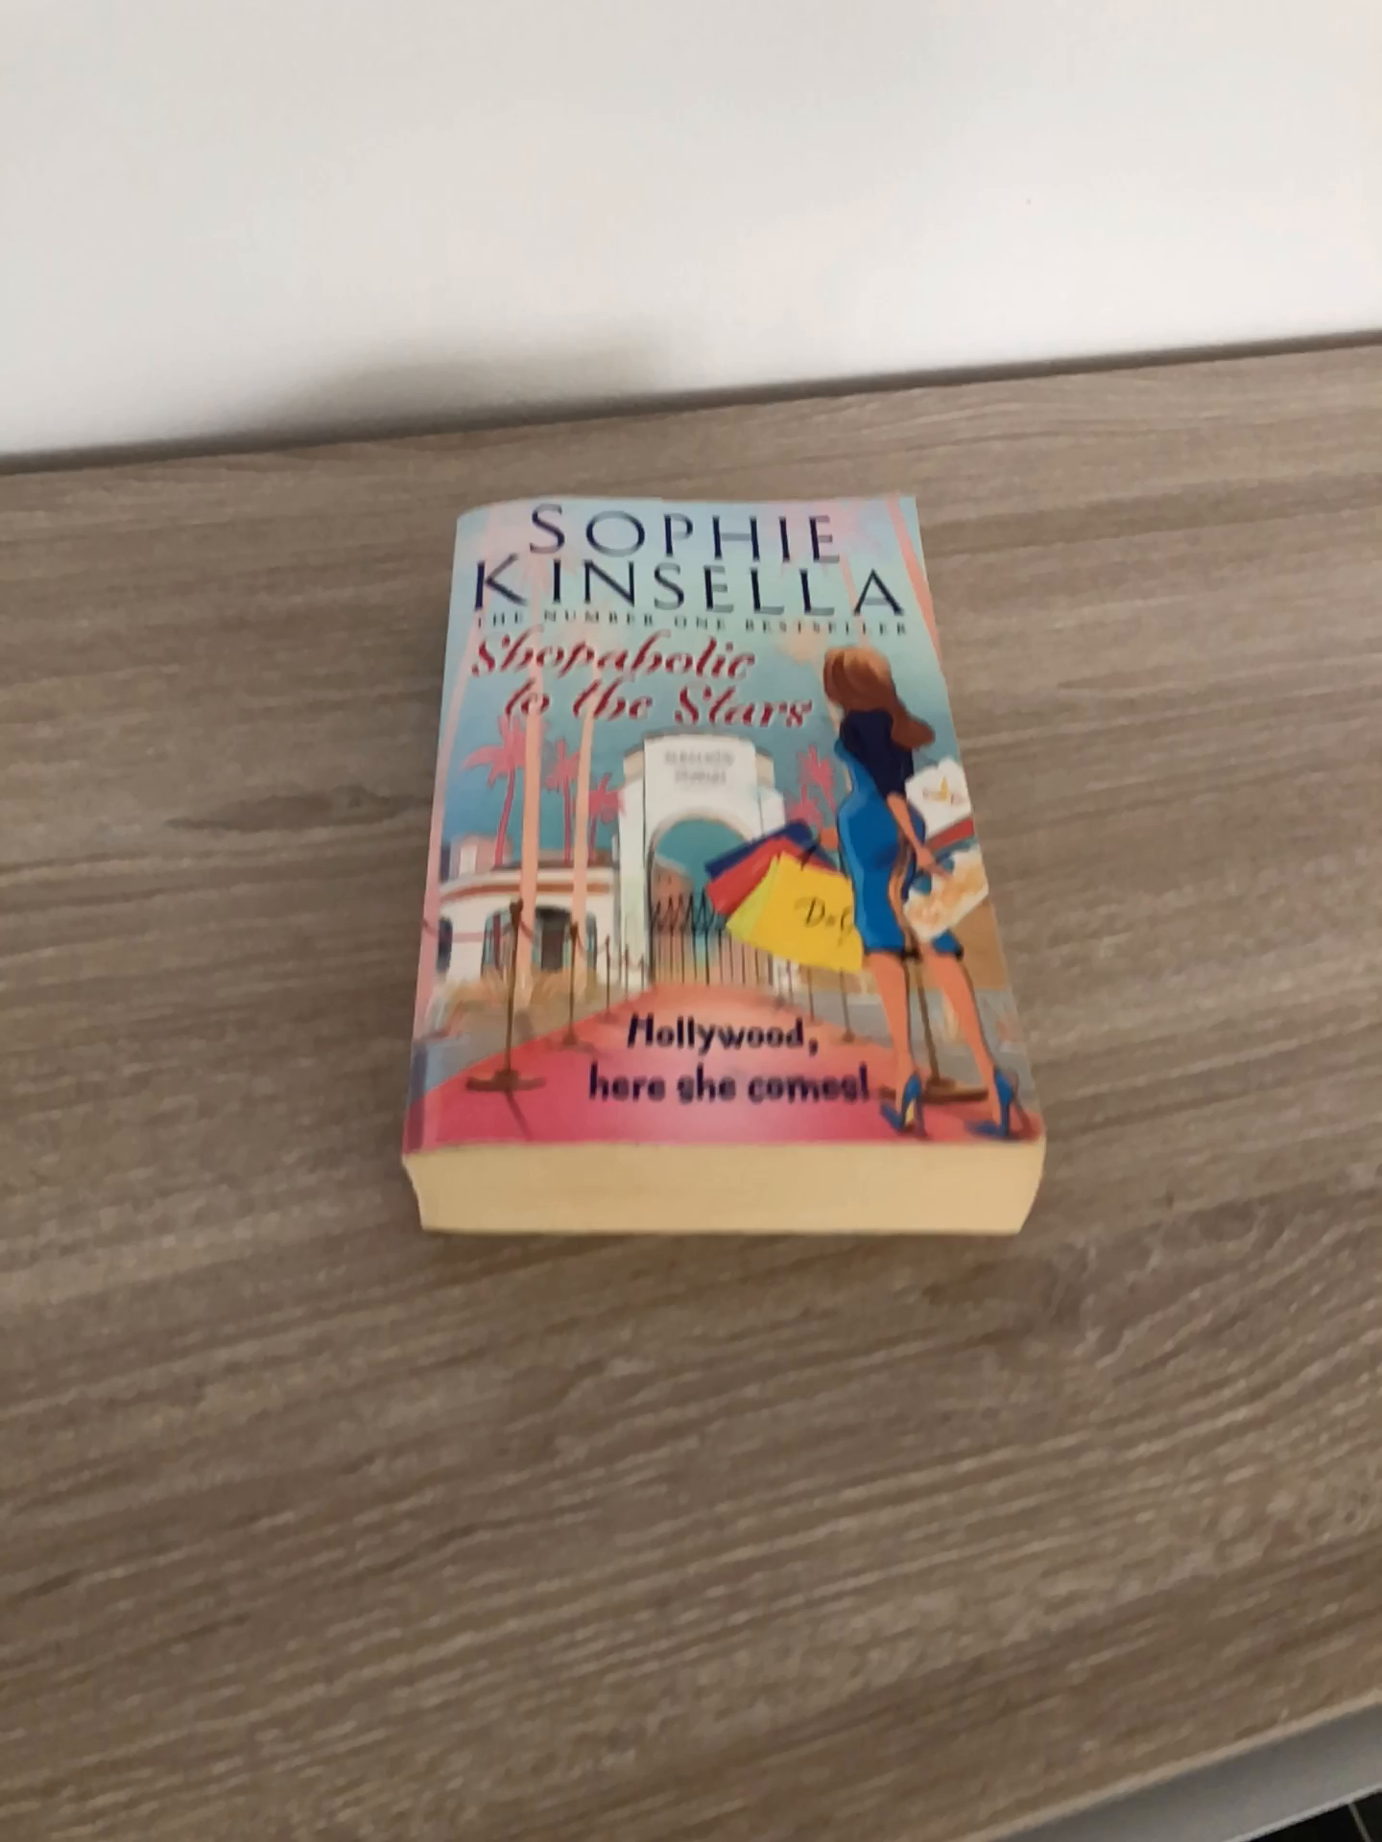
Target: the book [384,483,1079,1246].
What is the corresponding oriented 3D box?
[{"bbox_3d":[0.003,-0.024,0.360,0.130,0.040,0.201,1,51,-5],"label":"book"}]
